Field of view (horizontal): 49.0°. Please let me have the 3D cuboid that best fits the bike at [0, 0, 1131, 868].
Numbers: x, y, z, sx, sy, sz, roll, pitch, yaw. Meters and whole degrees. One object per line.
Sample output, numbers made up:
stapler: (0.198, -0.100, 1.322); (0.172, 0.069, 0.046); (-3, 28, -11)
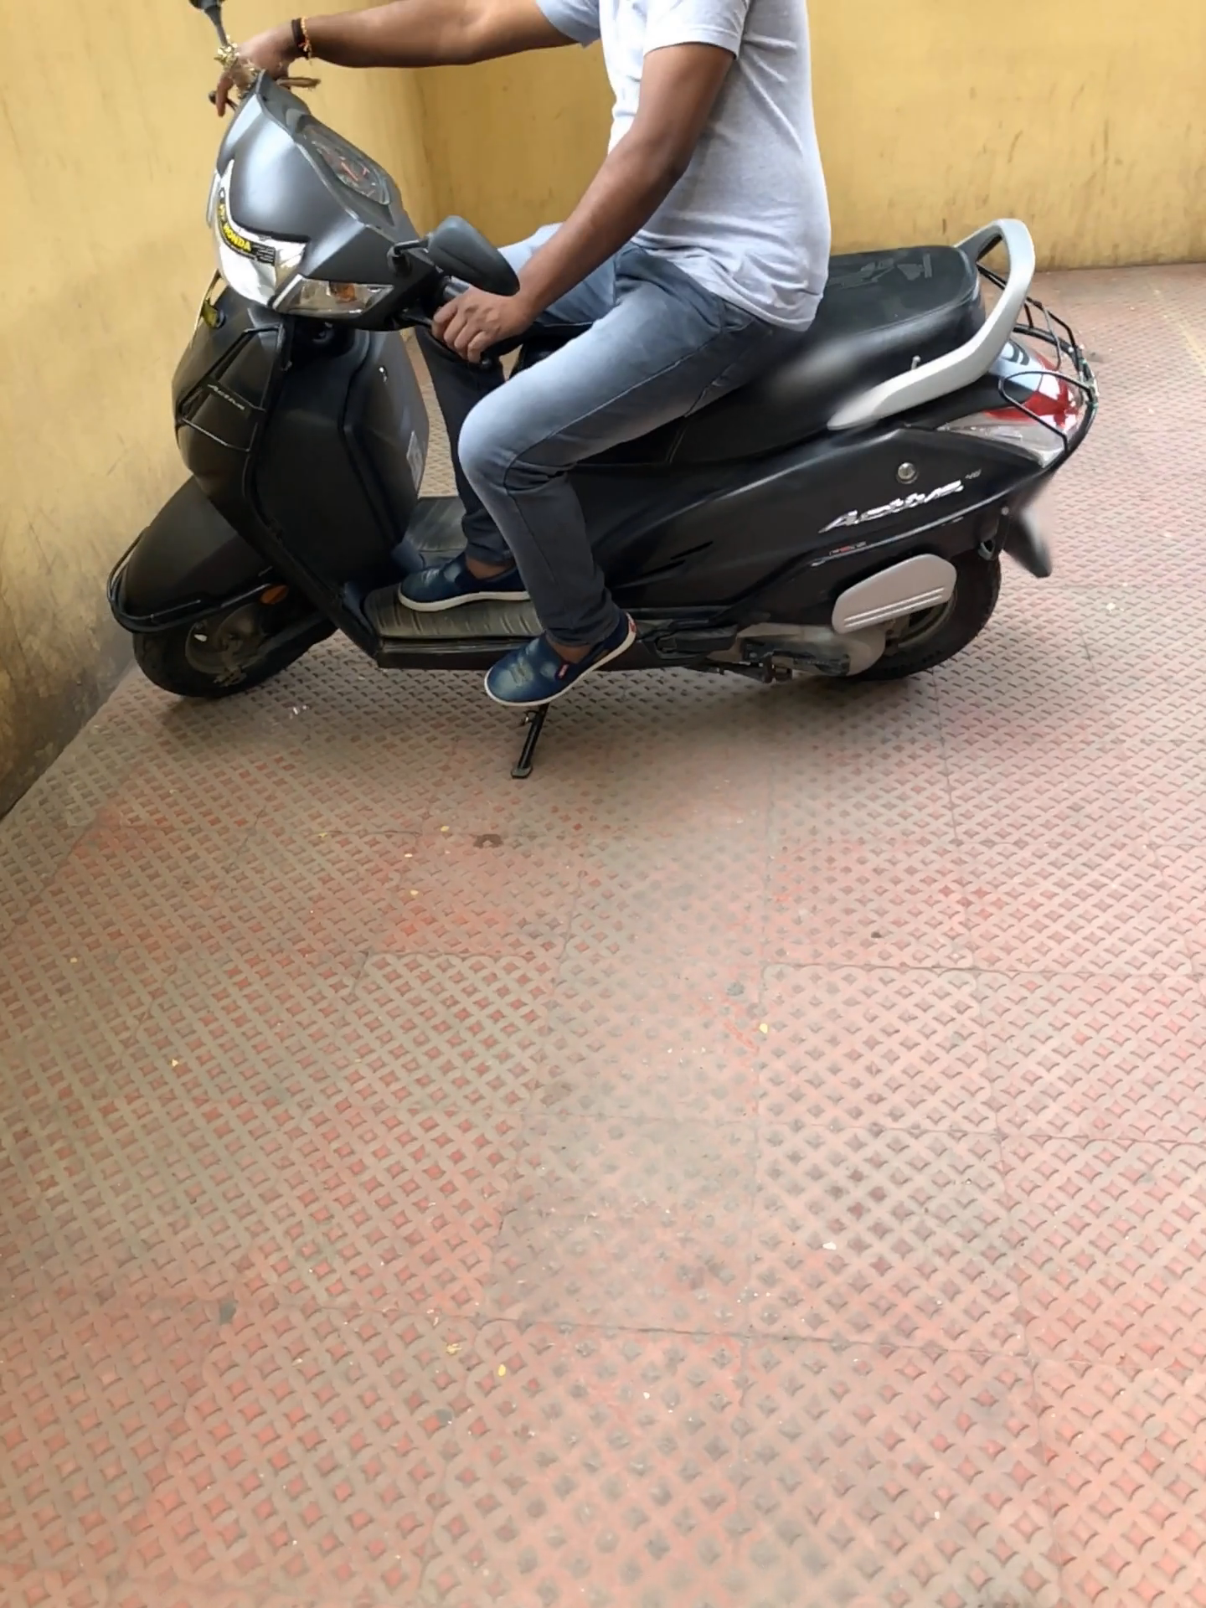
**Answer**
bike: (-0.114, -0.577, 2.109); (1.545, 1.016, 0.697); (-4, 35, 5)
